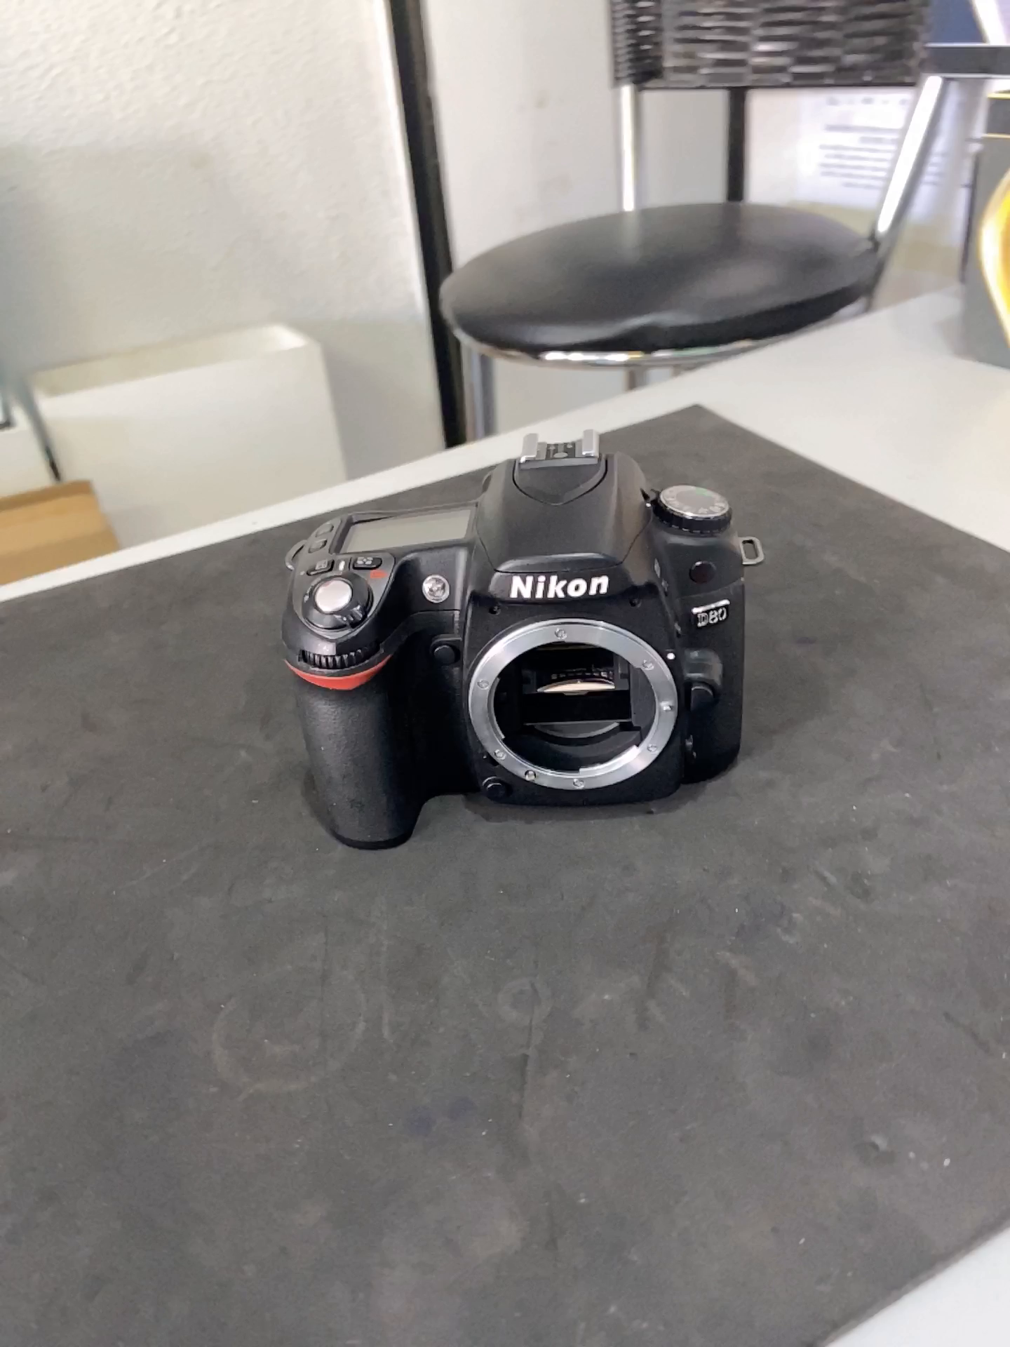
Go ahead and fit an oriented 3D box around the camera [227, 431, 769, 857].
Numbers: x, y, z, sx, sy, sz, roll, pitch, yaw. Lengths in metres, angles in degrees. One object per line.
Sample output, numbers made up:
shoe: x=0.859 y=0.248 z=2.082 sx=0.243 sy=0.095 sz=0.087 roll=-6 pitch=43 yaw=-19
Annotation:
camera: x=0.003 y=-0.010 z=0.318 sx=0.135 sy=0.088 sz=0.084 roll=-4 pitch=33 yaw=5
